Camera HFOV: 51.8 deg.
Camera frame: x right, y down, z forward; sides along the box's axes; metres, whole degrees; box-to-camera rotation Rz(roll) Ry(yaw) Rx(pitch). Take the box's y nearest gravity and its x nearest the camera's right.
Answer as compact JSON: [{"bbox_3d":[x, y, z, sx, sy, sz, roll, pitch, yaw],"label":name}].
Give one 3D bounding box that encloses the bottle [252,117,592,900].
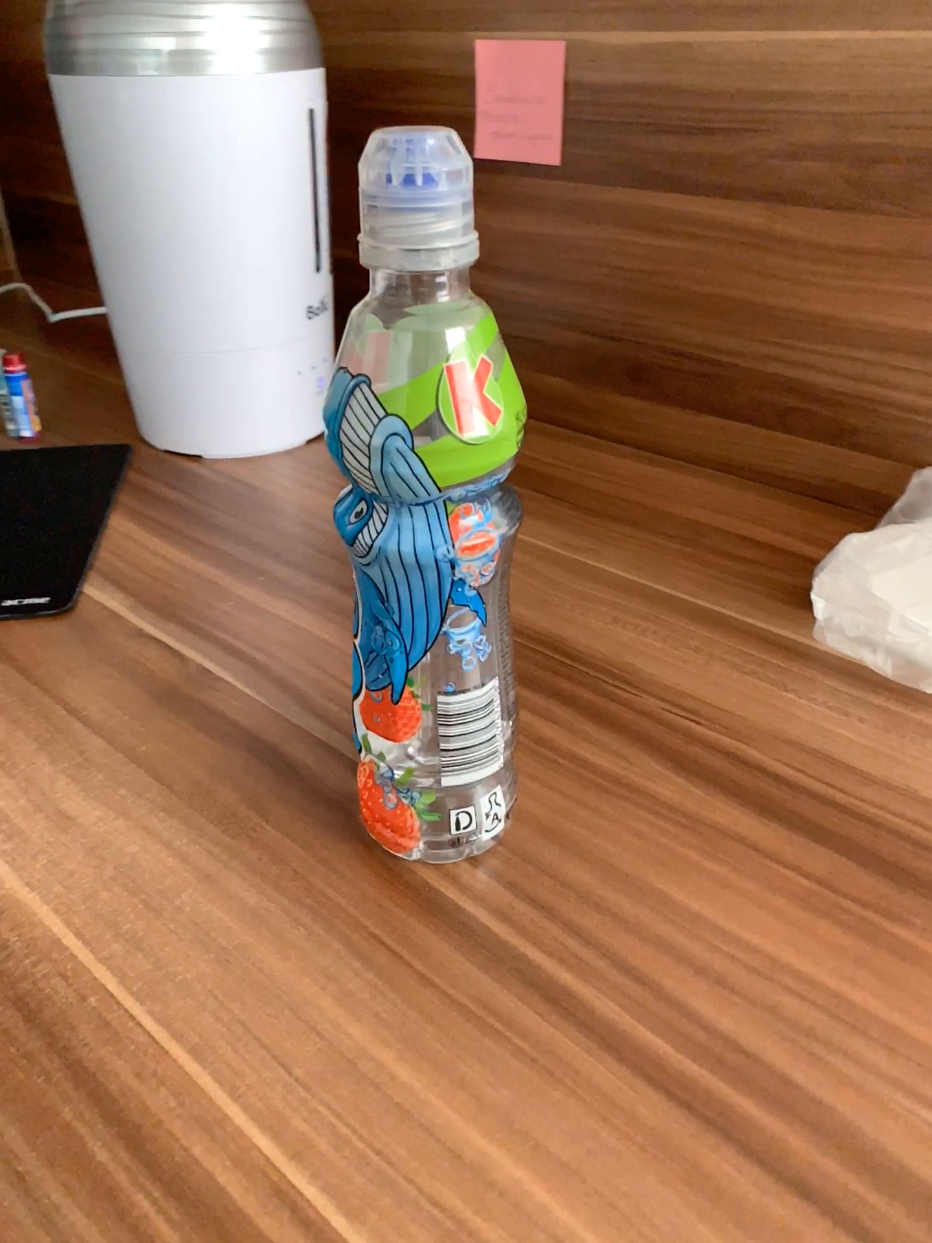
[{"bbox_3d":[-0.013,-0.028,0.316,0.070,0.239,0.070,0,32,0],"label":"bottle"}]
